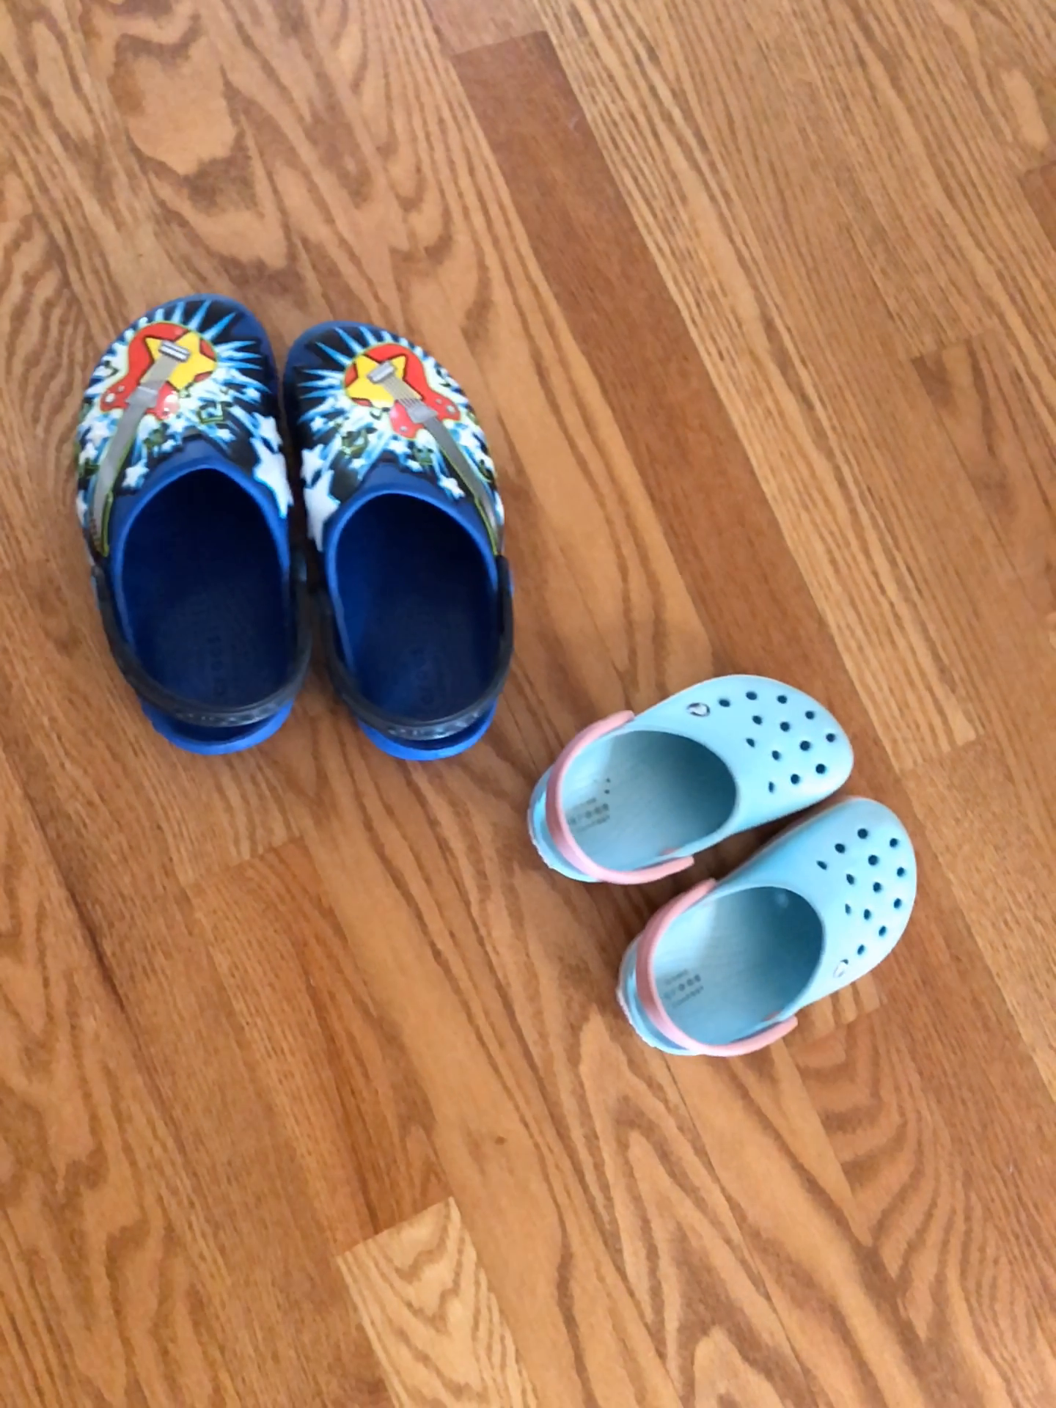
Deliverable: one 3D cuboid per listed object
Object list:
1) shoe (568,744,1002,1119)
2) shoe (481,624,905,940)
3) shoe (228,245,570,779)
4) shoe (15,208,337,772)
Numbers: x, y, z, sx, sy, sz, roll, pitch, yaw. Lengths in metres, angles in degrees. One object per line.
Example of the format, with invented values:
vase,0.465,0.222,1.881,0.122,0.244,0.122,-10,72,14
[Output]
shoe,0.118,0.102,0.540,0.170,0.050,0.090,-28,84,-13
shoe,0.075,0.037,0.548,0.170,0.050,0.090,-20,83,-12
shoe,-0.062,-0.087,0.537,0.110,0.070,0.220,-10,81,-11
shoe,-0.154,-0.094,0.518,0.110,0.070,0.230,-6,80,-10
